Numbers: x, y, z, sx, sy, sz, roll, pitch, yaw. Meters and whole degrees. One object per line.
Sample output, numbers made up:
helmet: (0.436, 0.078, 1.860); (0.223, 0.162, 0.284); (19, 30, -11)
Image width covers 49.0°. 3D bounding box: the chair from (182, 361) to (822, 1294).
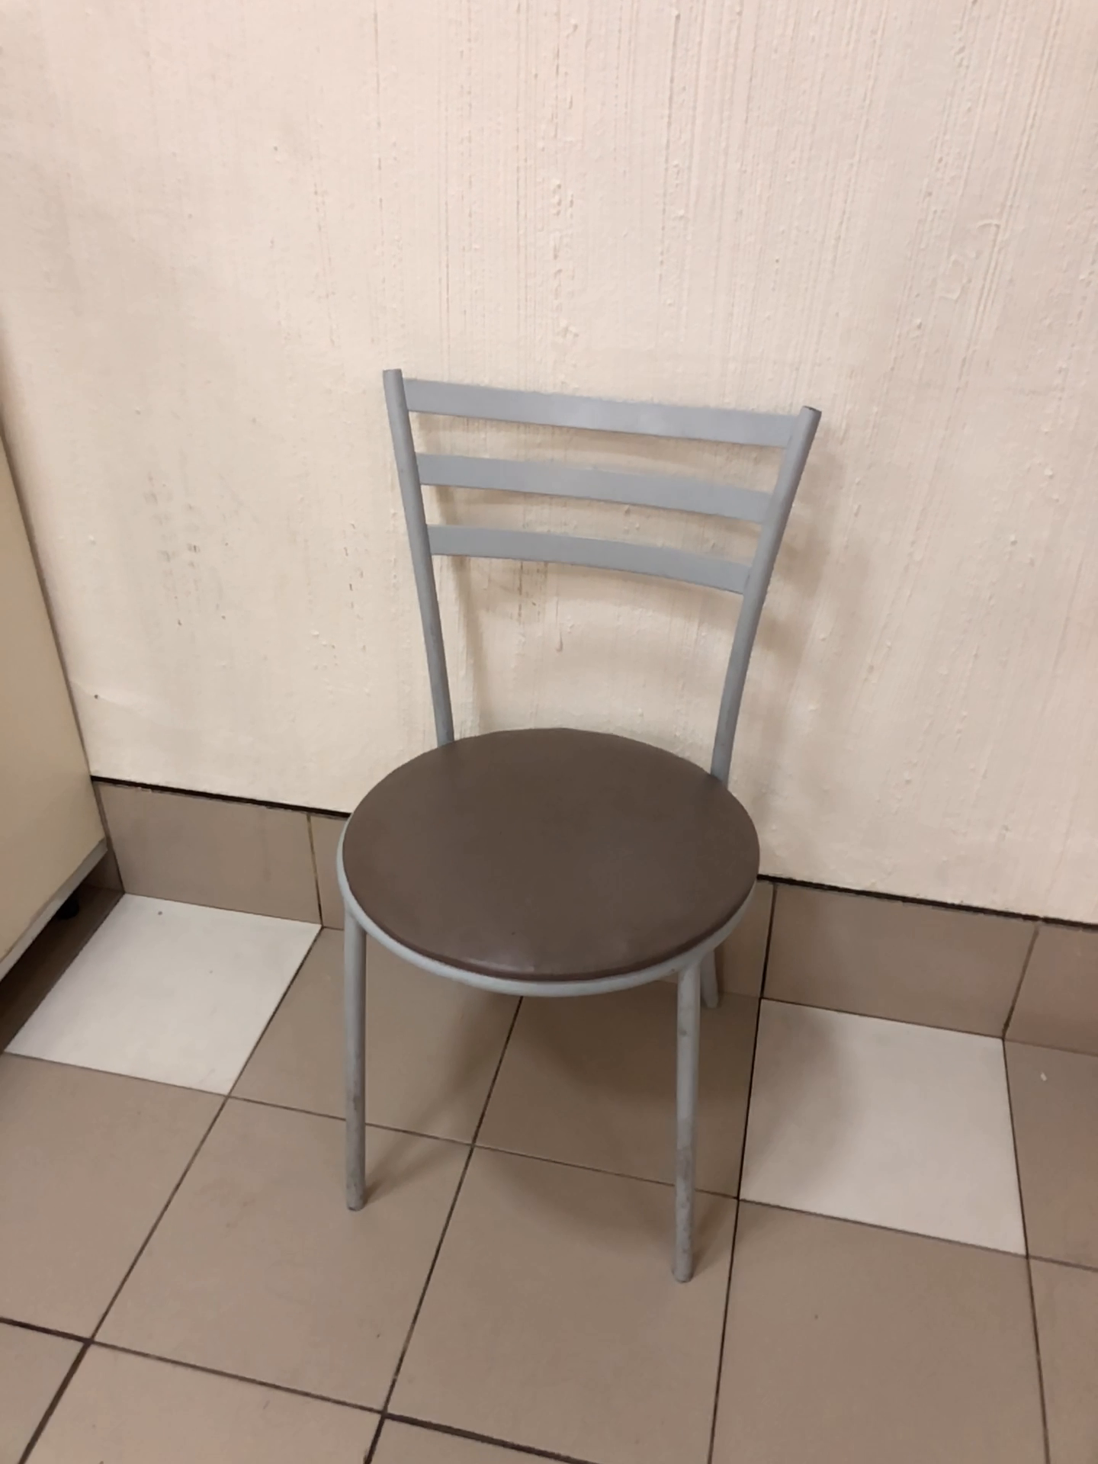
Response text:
chair: (-0.003, 0.095, 1.185); (0.430, 0.764, 0.423); (7, 34, 10)
